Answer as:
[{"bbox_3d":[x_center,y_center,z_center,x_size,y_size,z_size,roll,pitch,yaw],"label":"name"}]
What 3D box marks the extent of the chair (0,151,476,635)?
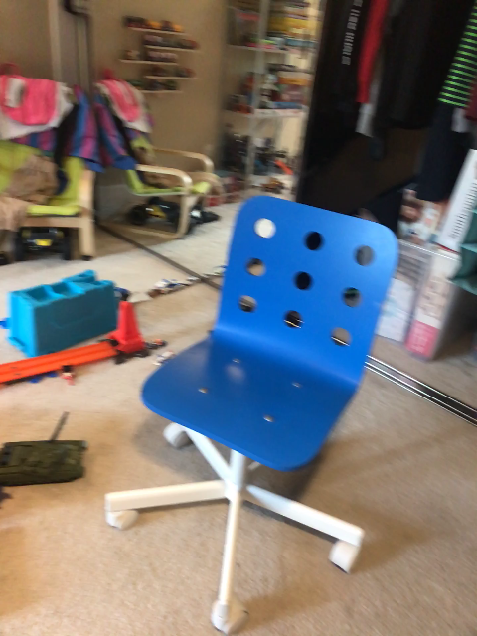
[{"bbox_3d":[0.012,0.176,1.074,0.620,0.814,0.675,21,31,22],"label":"chair"}]
